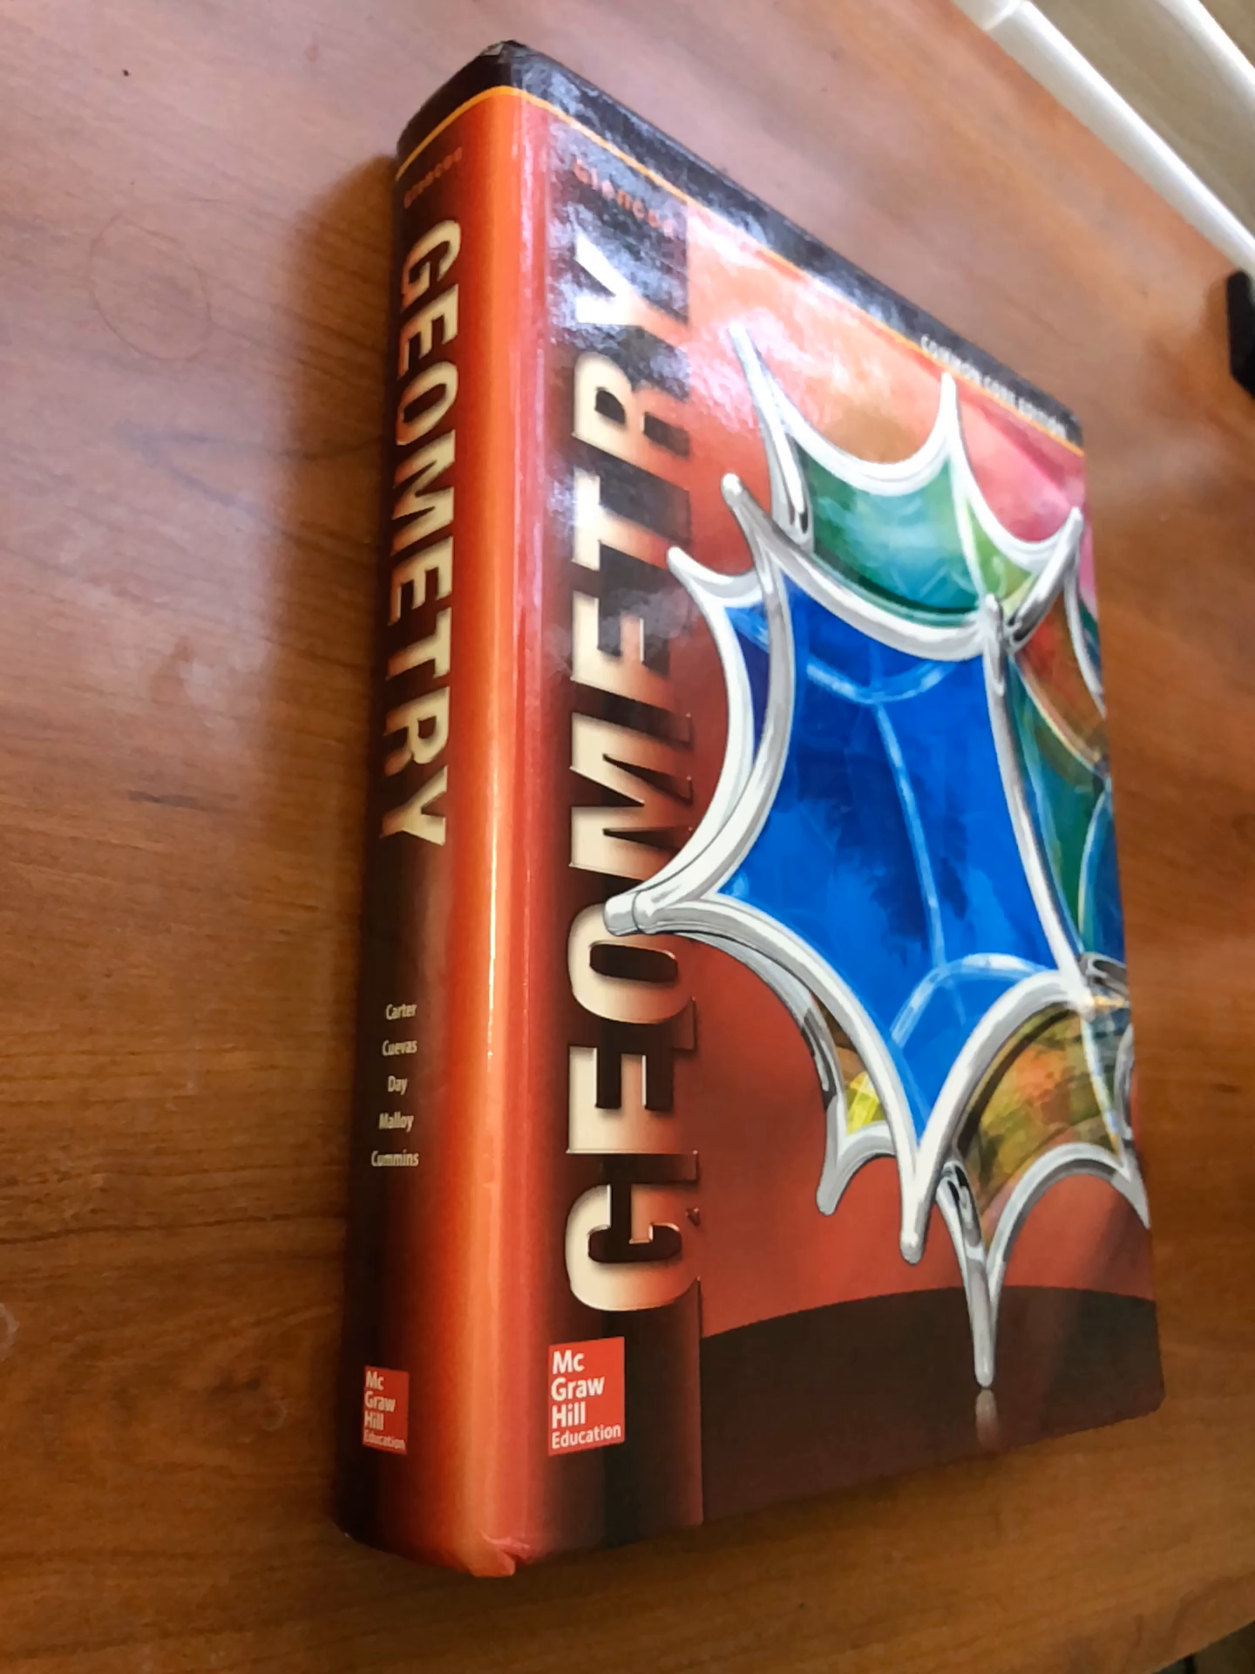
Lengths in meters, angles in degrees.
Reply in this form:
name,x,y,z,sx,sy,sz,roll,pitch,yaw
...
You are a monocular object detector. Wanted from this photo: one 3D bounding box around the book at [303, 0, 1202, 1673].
name,x,y,z,sx,sy,sz,roll,pitch,yaw
book,0.045,0.002,0.337,0.230,0.050,0.310,12,71,-41
